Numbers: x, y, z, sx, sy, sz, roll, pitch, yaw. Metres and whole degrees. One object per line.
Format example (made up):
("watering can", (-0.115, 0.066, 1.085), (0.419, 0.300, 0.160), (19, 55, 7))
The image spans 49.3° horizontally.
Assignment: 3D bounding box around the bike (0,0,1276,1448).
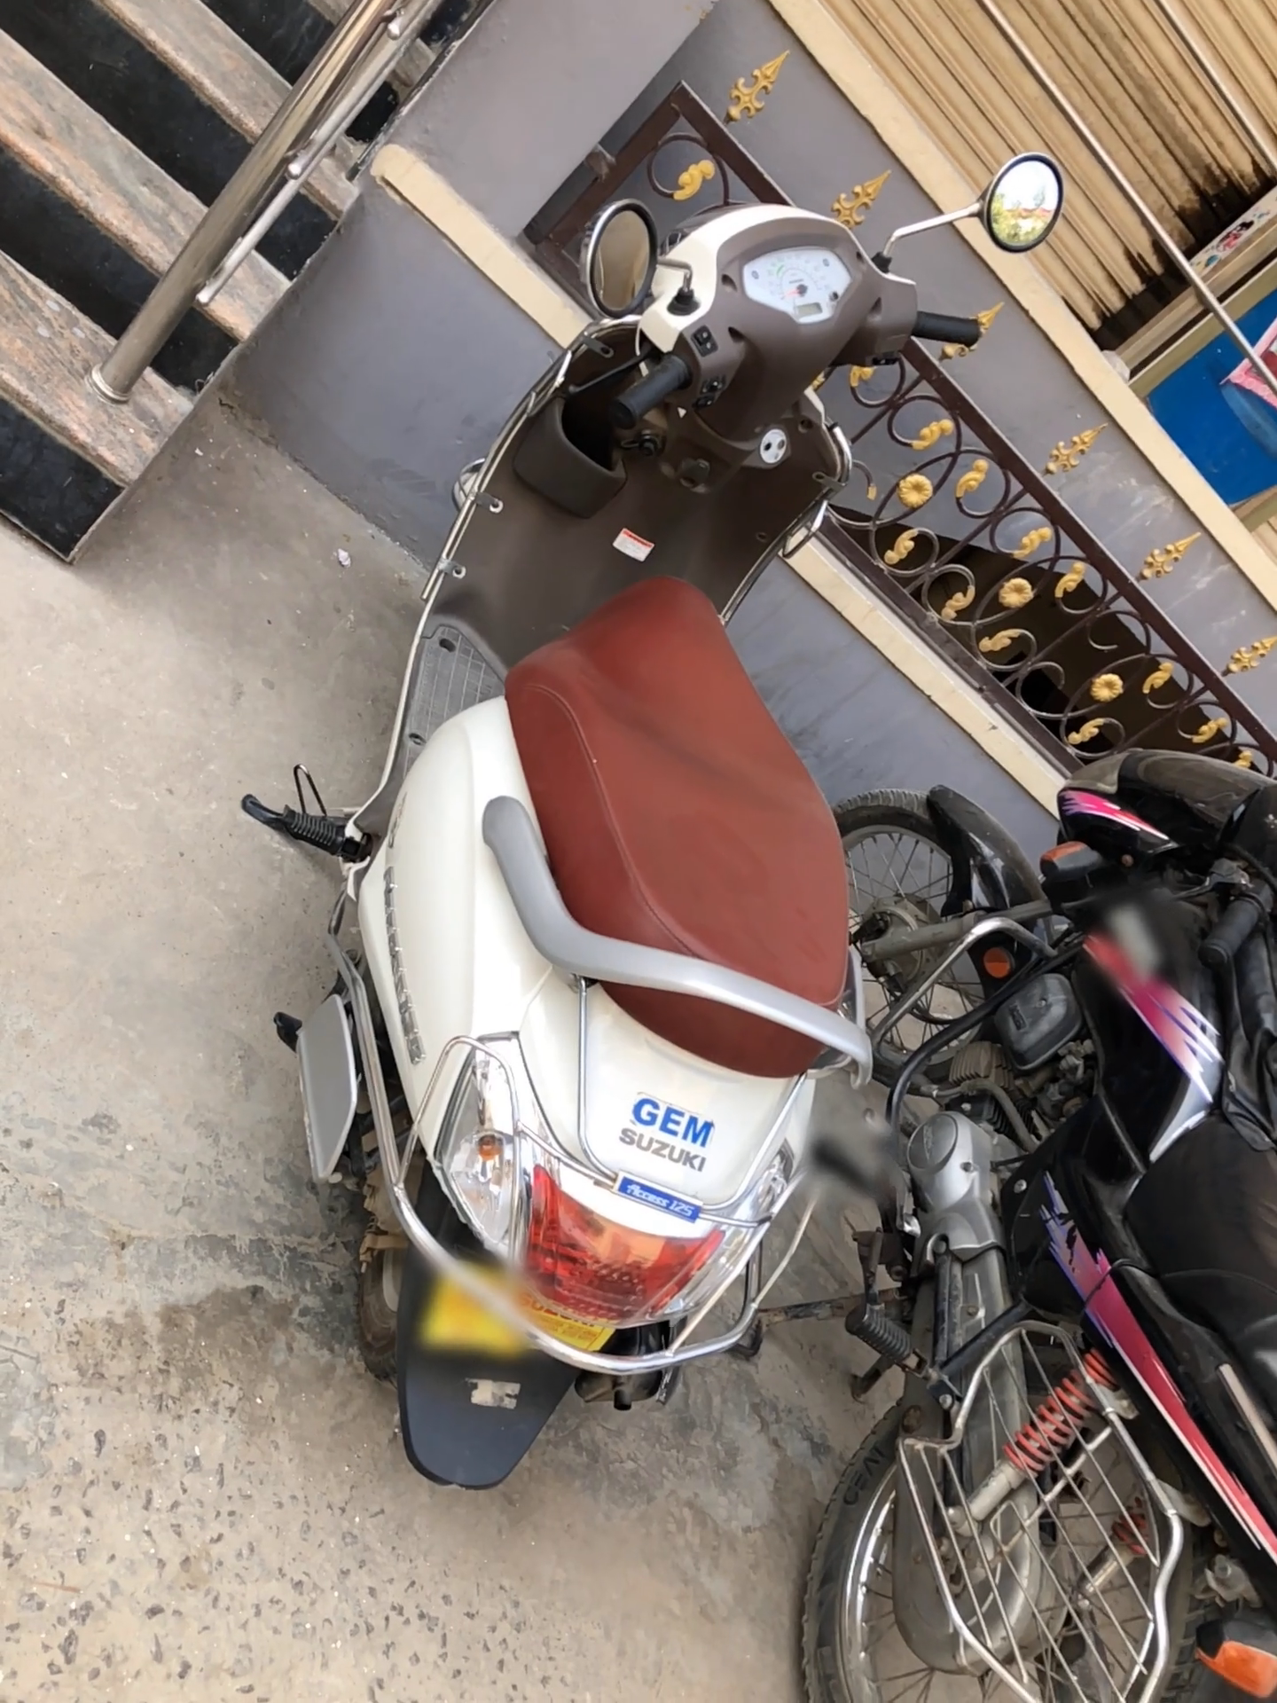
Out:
("bike", (-0.064, -0.299, 1.791), (0.597, 1.195, 1.491), (33, 34, -31))
